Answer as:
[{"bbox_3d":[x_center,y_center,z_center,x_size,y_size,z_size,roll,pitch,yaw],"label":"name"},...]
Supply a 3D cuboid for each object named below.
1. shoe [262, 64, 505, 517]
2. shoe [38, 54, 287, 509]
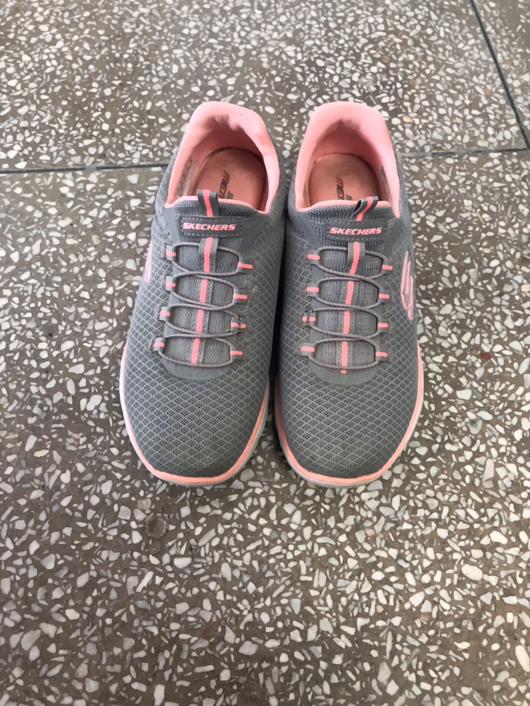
[{"bbox_3d":[0.058,-0.040,0.356,0.102,0.108,0.247,4,64,0],"label":"shoe"},{"bbox_3d":[-0.043,-0.047,0.351,0.097,0.095,0.253,4,64,0],"label":"shoe"}]
